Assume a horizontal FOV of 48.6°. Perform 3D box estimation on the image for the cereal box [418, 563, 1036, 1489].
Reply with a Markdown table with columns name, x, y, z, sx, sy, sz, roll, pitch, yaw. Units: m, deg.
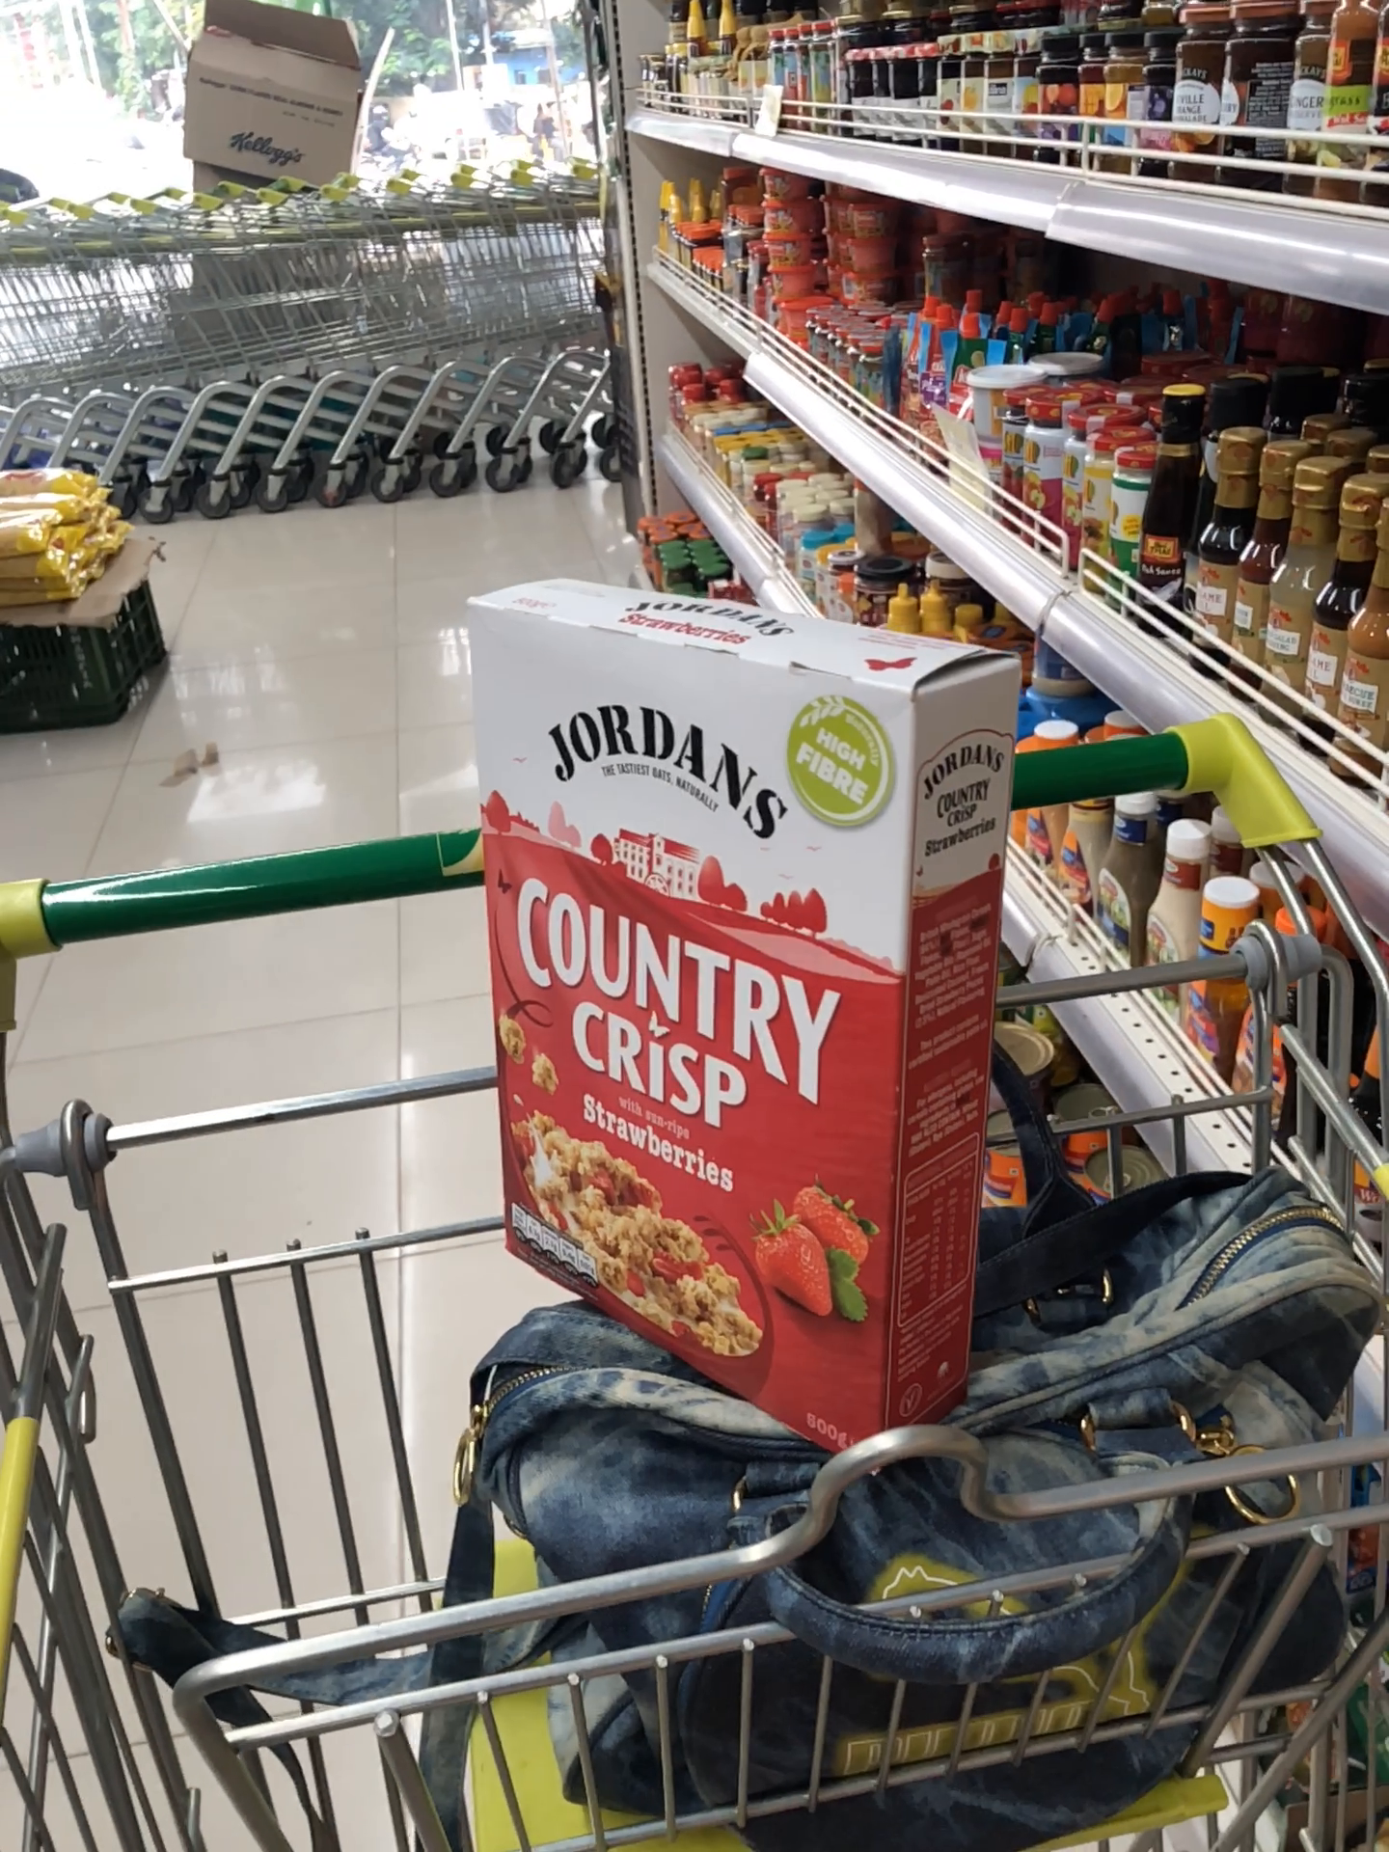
| name | x | y | z | sx | sy | sz | roll | pitch | yaw |
| --- | --- | --- | --- | --- | --- | --- | --- | --- | --- |
| cereal box | 0.003 | 0.024 | 0.501 | 0.191 | 0.249 | 0.060 | 21 | 32 | 39 |
